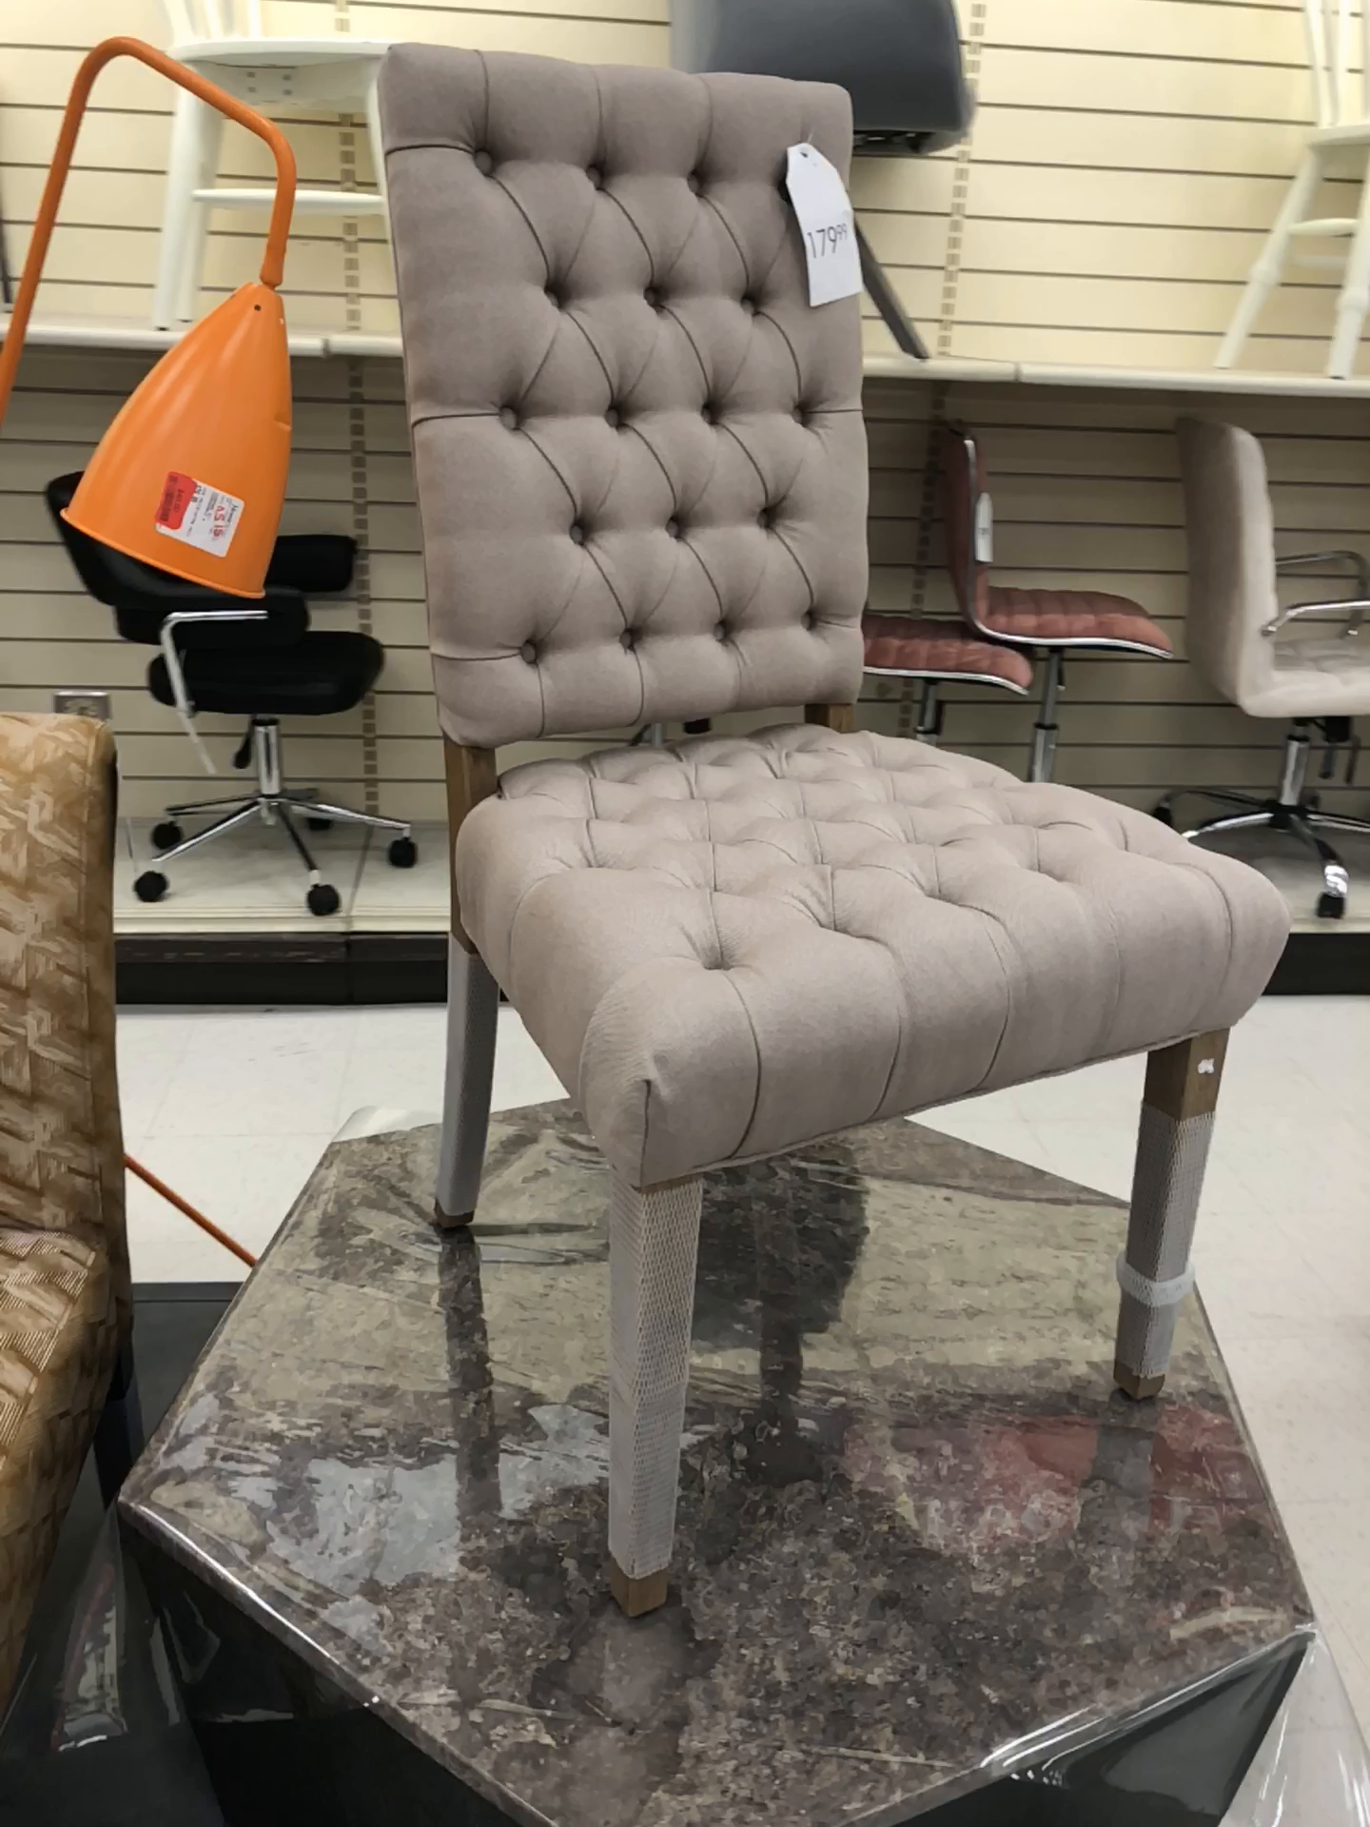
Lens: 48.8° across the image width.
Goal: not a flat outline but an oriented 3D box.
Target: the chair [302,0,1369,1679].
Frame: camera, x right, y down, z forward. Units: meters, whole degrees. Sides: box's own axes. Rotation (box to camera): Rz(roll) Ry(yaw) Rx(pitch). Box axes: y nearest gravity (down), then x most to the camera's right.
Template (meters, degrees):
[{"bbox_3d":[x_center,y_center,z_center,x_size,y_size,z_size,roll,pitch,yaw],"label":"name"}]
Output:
[{"bbox_3d":[0.091,-0.109,1.205,0.571,1.046,0.582,-10,25,-29],"label":"chair"}]
